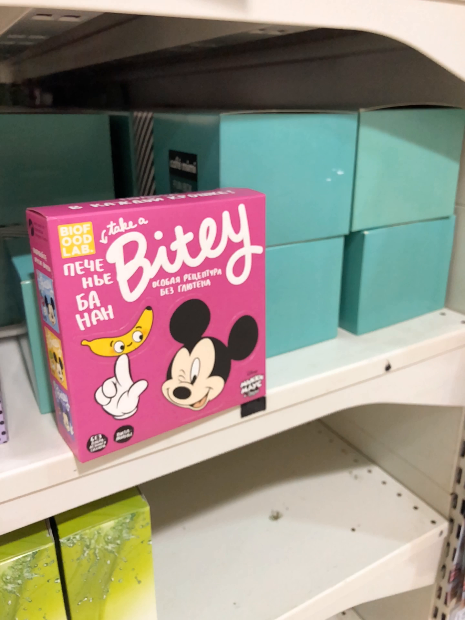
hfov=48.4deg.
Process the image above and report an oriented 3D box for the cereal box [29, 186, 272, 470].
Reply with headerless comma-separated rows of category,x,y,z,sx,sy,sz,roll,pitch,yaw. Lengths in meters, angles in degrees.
cereal box,-0.043,0.003,0.332,0.140,0.149,0.040,-14,23,-34
